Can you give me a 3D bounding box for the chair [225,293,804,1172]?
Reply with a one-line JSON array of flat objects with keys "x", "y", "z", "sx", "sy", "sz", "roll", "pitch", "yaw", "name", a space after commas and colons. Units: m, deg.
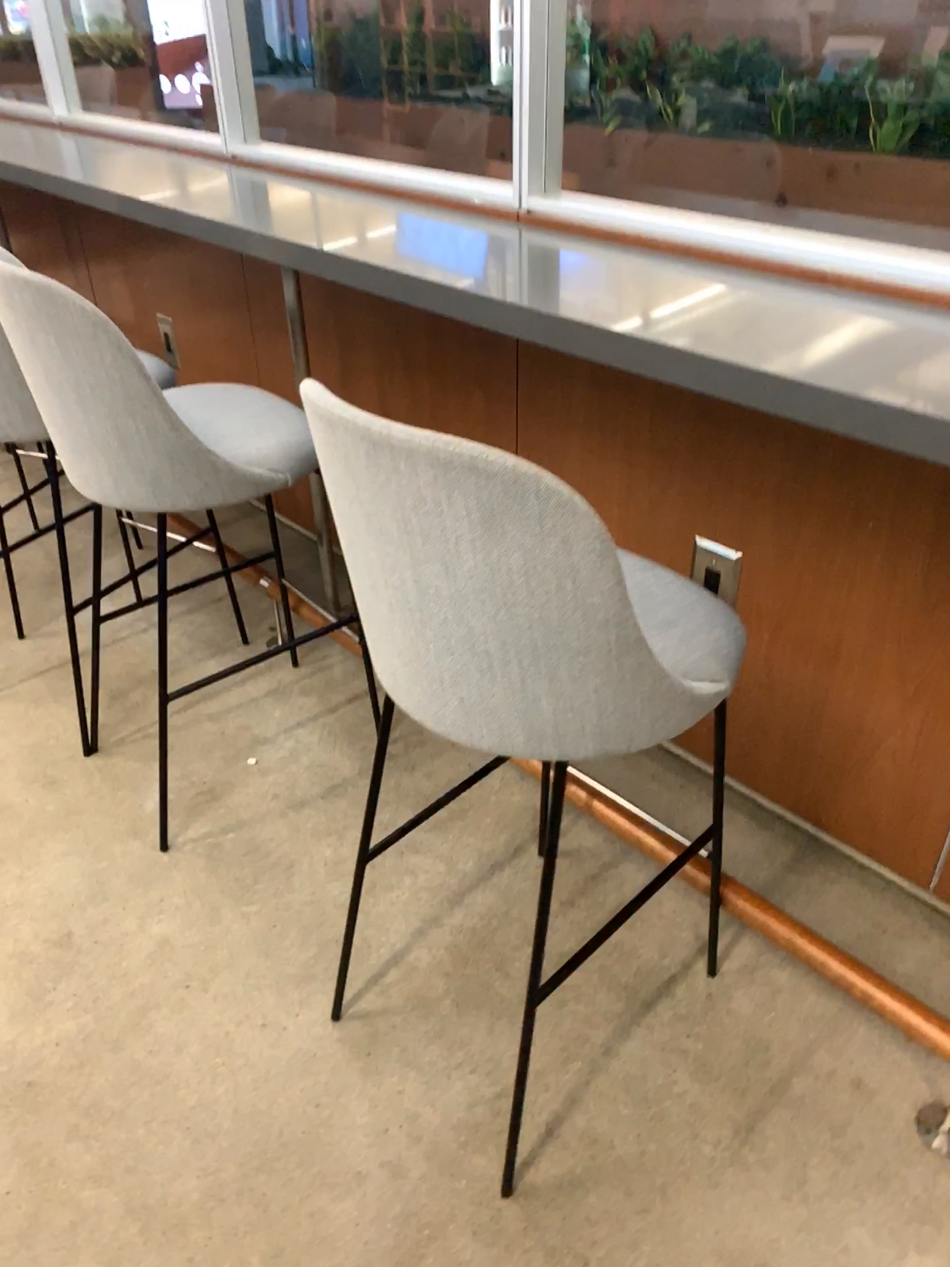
[{"x": 0.067, "y": 0.142, "z": 1.345, "sx": 0.411, "sy": 1.033, "sz": 0.511, "roll": 24, "pitch": 41, "yaw": 33, "name": "chair"}]
